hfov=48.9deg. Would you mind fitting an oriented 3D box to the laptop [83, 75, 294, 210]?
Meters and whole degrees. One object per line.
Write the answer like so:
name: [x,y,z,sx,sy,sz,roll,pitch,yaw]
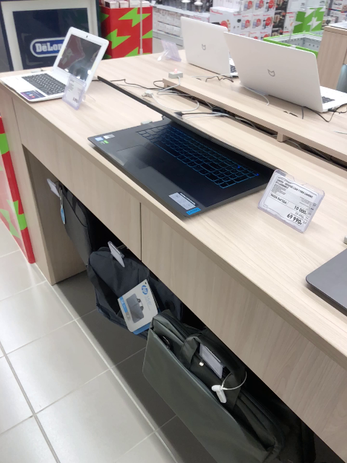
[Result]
laptop: [0.012,-0.229,0.866,0.271,0.129,0.391,-21,41,-29]
